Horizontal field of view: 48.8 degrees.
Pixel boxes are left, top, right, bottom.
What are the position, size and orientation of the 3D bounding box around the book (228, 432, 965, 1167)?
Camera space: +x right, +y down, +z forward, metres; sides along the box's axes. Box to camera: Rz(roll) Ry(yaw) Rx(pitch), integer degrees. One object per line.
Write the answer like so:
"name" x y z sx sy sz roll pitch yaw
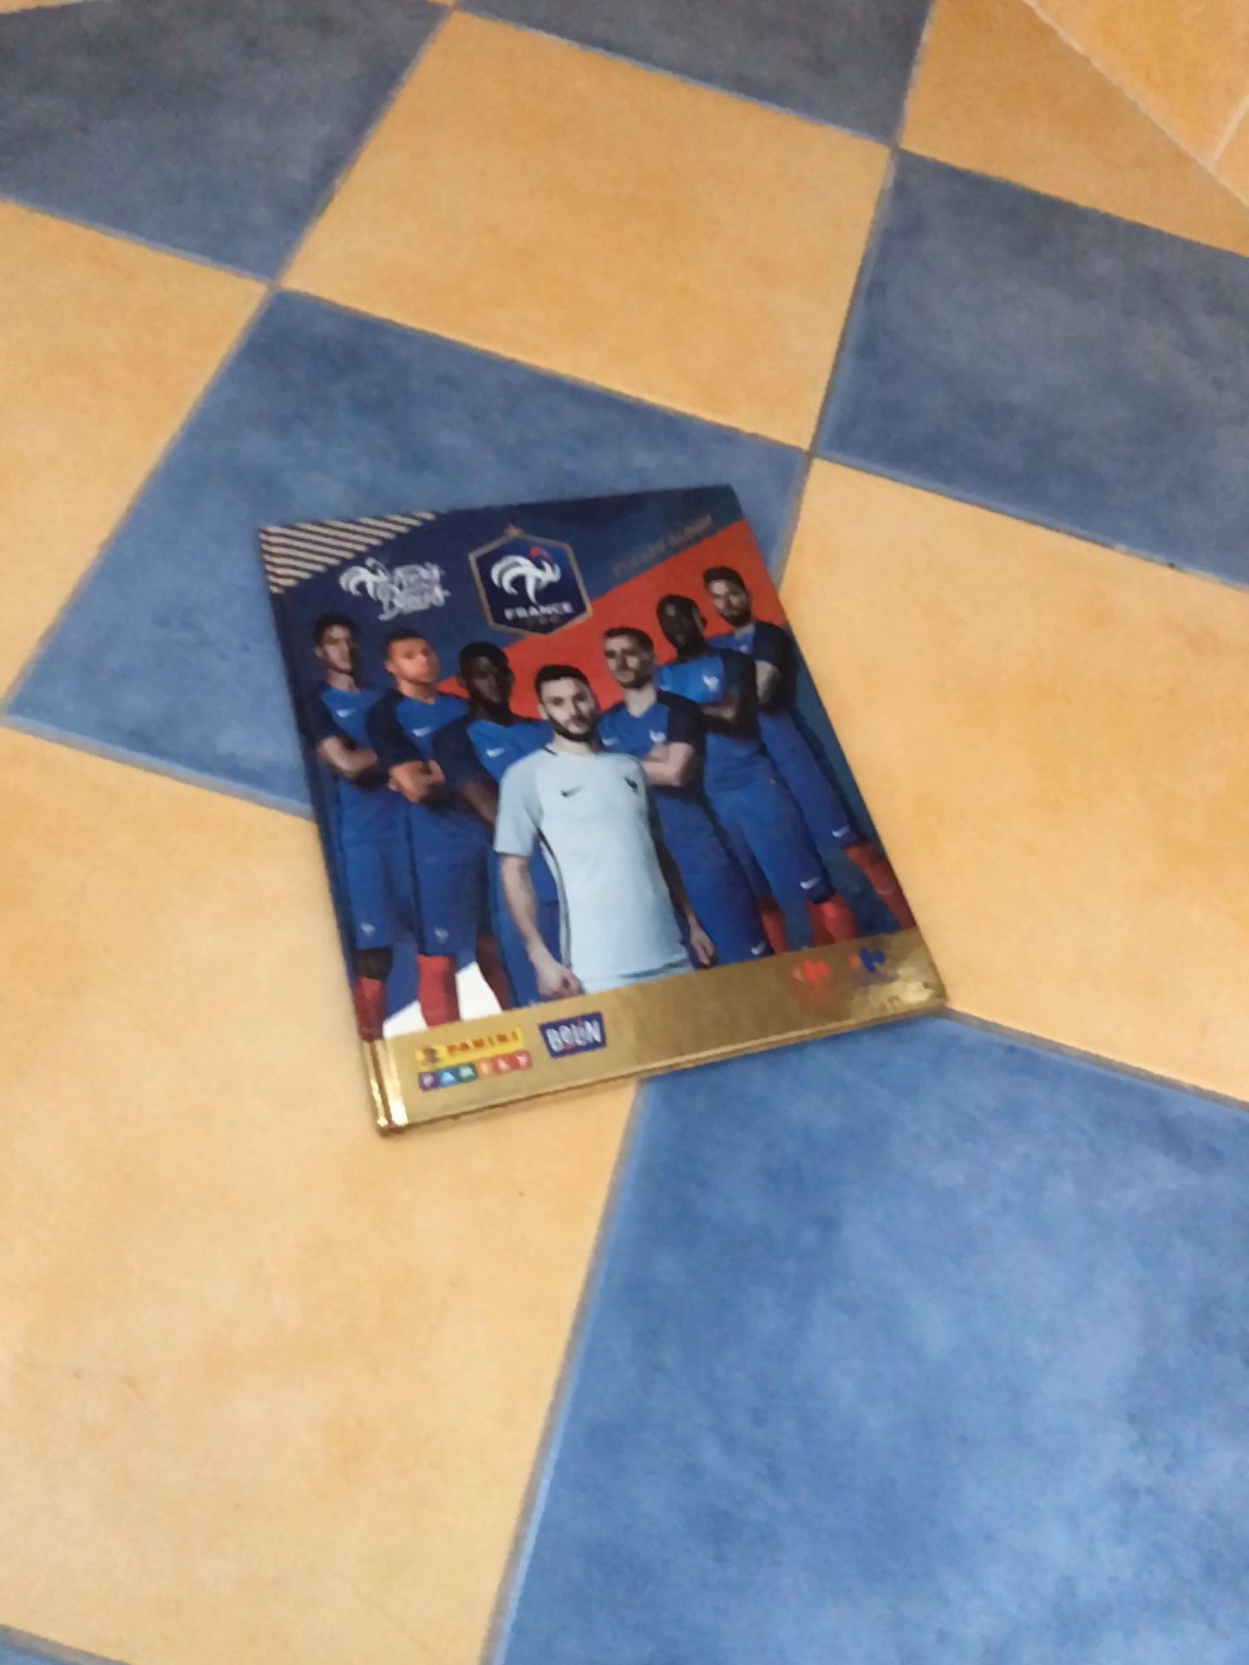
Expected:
"book" -0.025 -0.040 0.601 0.241 0.030 0.321 -10 62 -16
